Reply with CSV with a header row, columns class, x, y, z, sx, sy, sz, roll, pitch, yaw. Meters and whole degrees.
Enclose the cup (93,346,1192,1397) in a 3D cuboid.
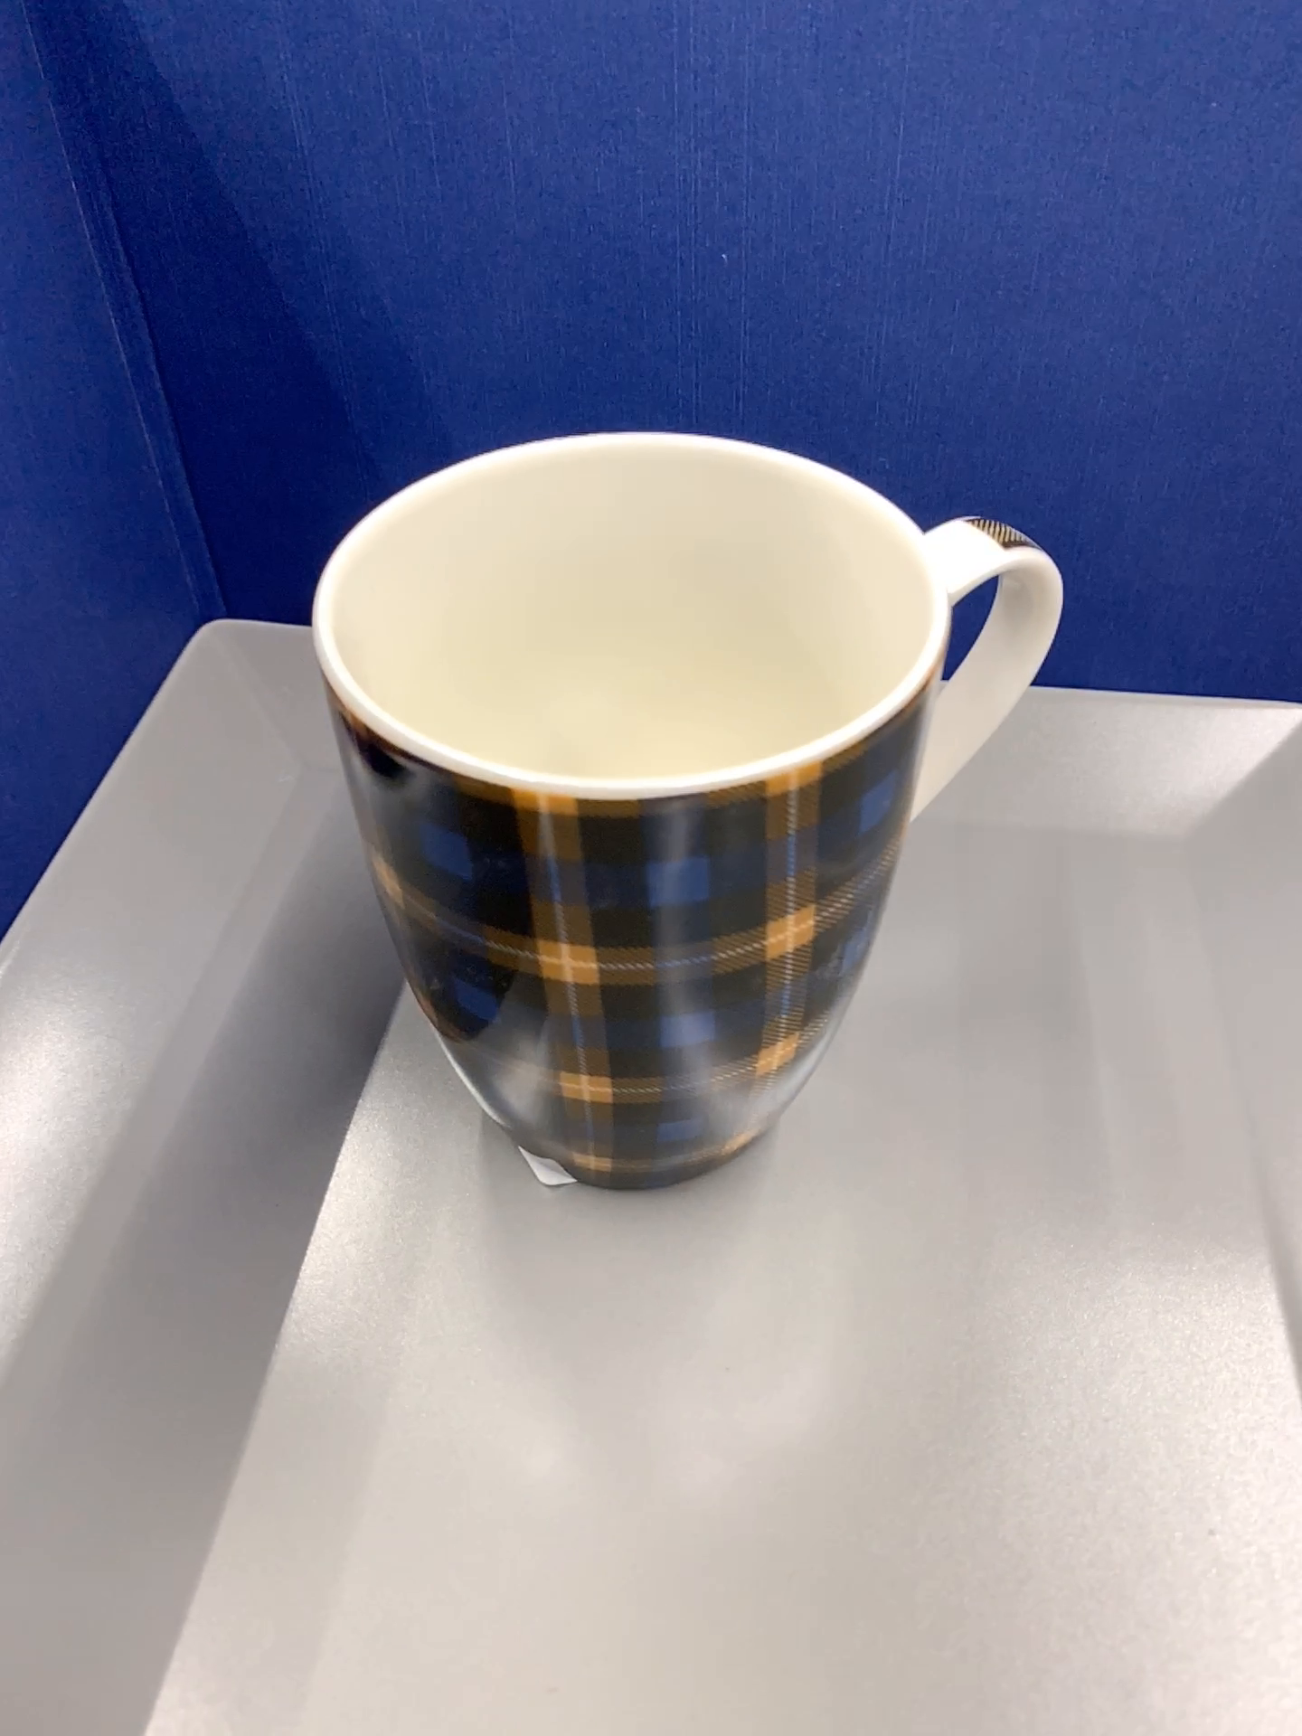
class,x,y,z,sx,sy,sz,roll,pitch,yaw
cup,0.002,-0.010,0.217,0.122,0.089,0.095,-34,51,-31
